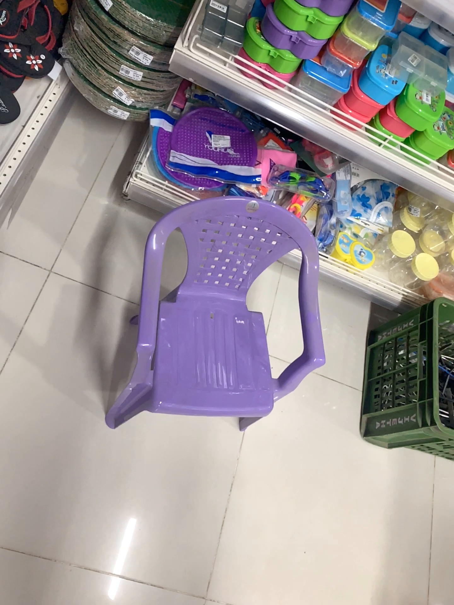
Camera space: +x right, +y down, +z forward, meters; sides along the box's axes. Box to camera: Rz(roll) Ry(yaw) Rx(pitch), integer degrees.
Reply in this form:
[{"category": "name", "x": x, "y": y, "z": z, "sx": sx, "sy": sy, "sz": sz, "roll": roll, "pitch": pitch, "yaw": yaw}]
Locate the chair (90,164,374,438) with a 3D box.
[{"category": "chair", "x": -0.036, "y": 0.048, "z": 0.956, "sx": 0.420, "sy": 0.429, "sz": 0.400, "roll": 5, "pitch": 68, "yaw": -20}]
